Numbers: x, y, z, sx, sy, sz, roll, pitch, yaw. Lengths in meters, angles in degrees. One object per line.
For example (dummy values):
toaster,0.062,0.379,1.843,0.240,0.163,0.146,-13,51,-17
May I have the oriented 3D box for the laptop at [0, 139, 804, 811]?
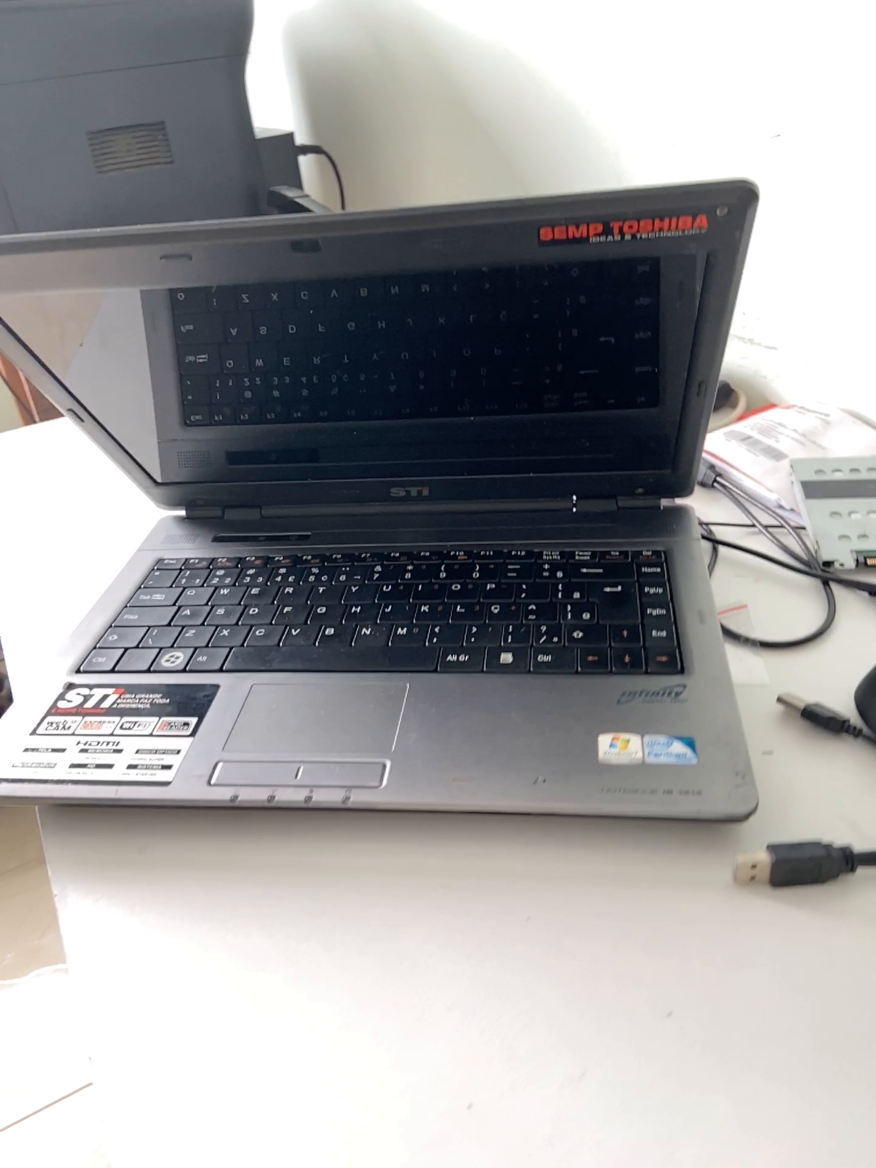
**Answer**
laptop,-0.042,-0.064,0.423,0.341,0.200,0.243,-1,33,10
